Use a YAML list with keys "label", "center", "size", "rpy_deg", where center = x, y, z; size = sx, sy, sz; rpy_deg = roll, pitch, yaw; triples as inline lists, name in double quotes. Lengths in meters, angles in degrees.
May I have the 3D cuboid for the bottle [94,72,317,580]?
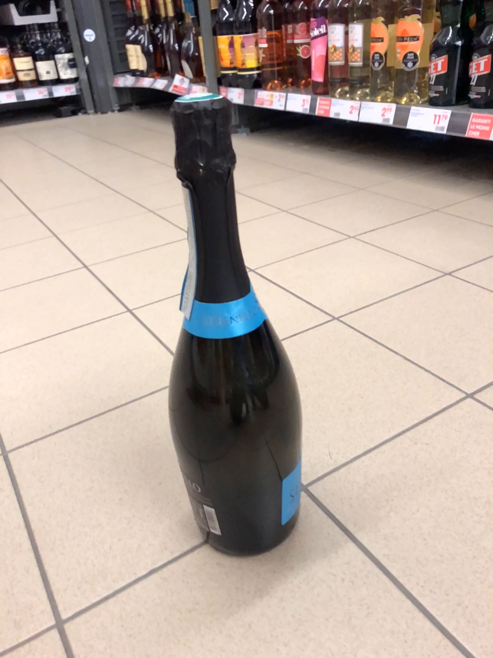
- label: "bottle"
  center: [-0.019, 0.008, 0.345]
  size: [0.090, 0.298, 0.100]
  rpy_deg: [-11, 30, -10]
